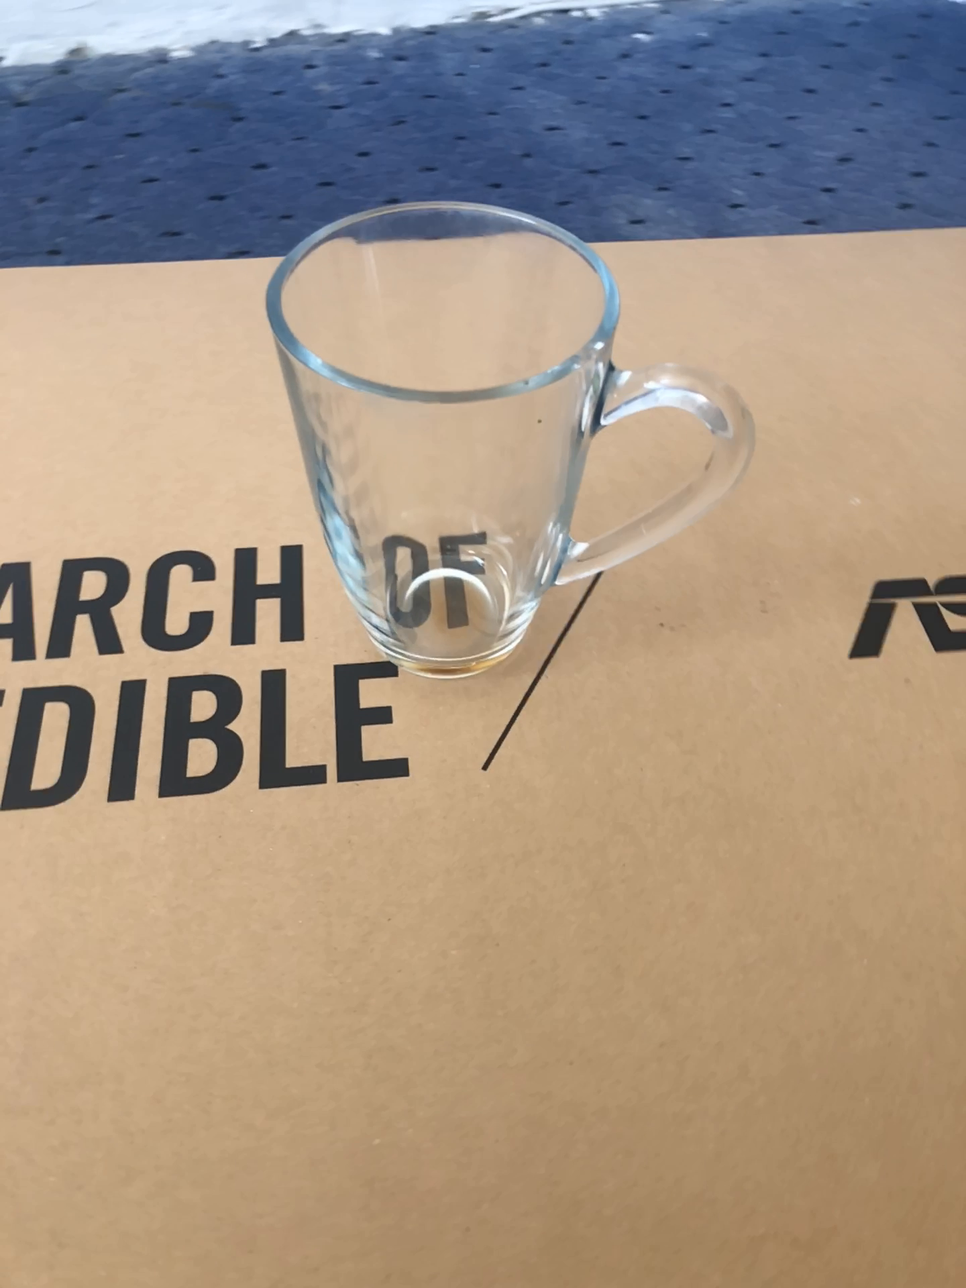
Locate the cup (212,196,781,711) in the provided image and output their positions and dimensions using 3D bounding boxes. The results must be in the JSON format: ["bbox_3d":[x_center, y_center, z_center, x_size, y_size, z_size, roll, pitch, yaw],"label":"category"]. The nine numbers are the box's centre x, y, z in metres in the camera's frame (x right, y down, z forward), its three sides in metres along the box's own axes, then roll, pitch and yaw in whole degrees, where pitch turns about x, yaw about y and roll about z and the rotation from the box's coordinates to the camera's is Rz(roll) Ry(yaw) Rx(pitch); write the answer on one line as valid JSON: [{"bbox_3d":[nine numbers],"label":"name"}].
[{"bbox_3d":[0.003,-0.046,0.267,0.110,0.090,0.080,4,48,1],"label":"cup"}]
